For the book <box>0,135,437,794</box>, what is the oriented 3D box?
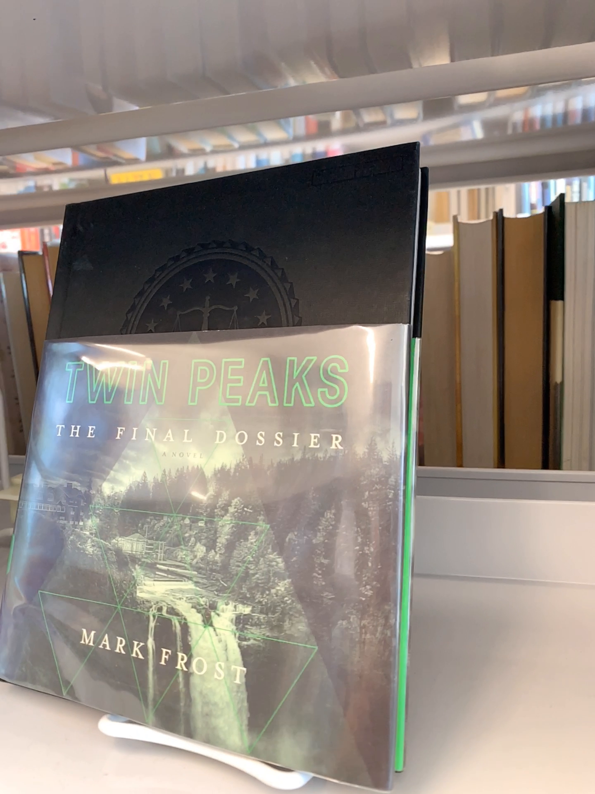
[{"bbox_3d":[-0.043,0.016,0.263,0.190,0.228,0.020,1,-9,27],"label":"book"}]
